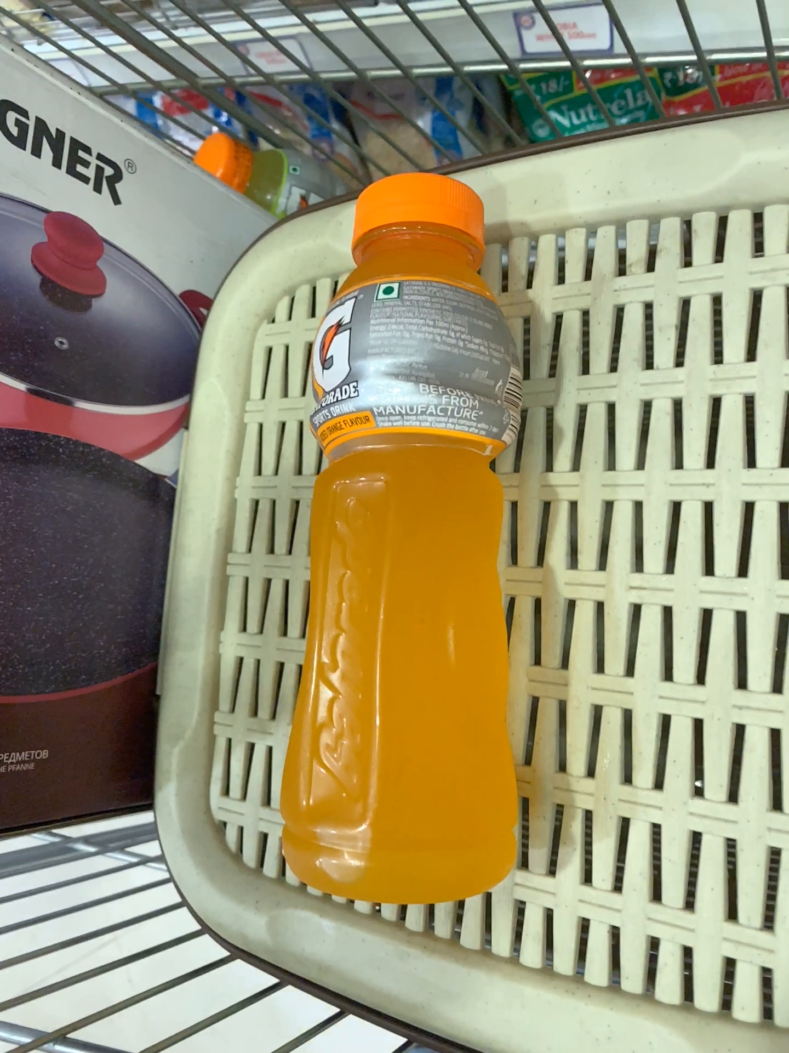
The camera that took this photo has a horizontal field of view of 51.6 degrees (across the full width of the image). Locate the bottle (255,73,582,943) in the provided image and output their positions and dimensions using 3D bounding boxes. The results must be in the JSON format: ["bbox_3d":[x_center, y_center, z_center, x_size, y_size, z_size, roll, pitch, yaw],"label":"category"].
[{"bbox_3d":[0.008,-0.006,0.235,0.060,0.060,0.210,-10,74,58],"label":"bottle"}]
